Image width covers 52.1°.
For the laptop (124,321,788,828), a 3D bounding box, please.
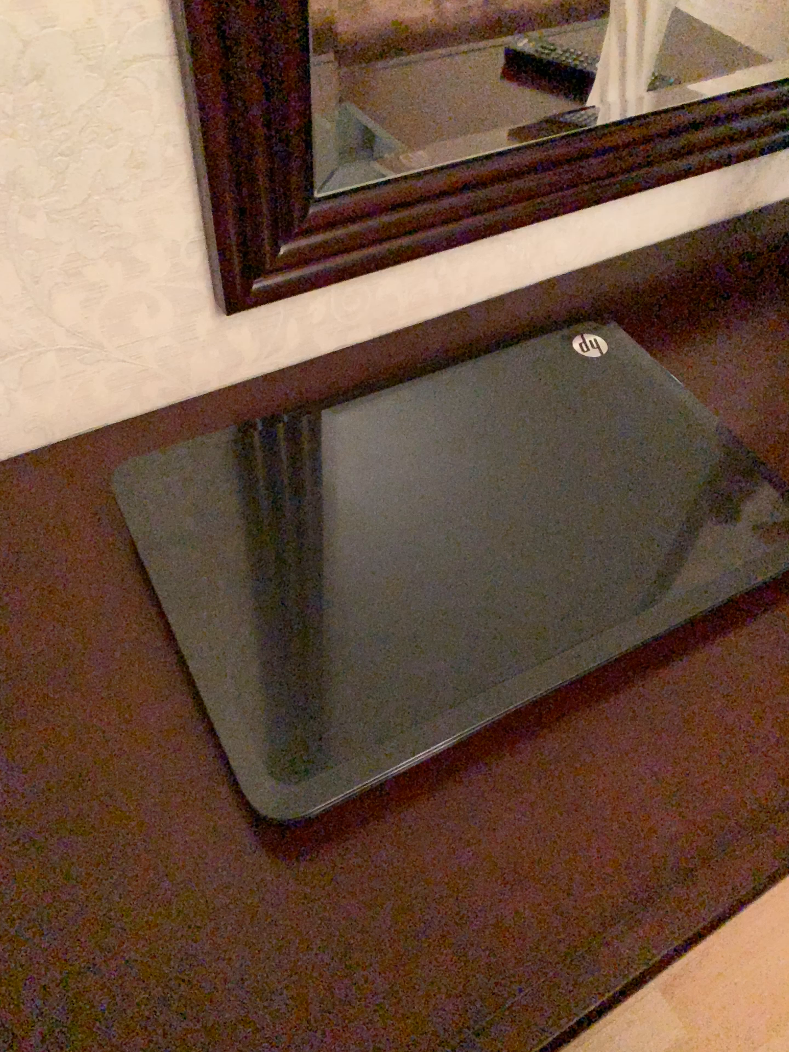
[{"bbox_3d":[0.048,-0.011,0.466,0.341,0.007,0.224,-22,56,-23],"label":"laptop"}]
